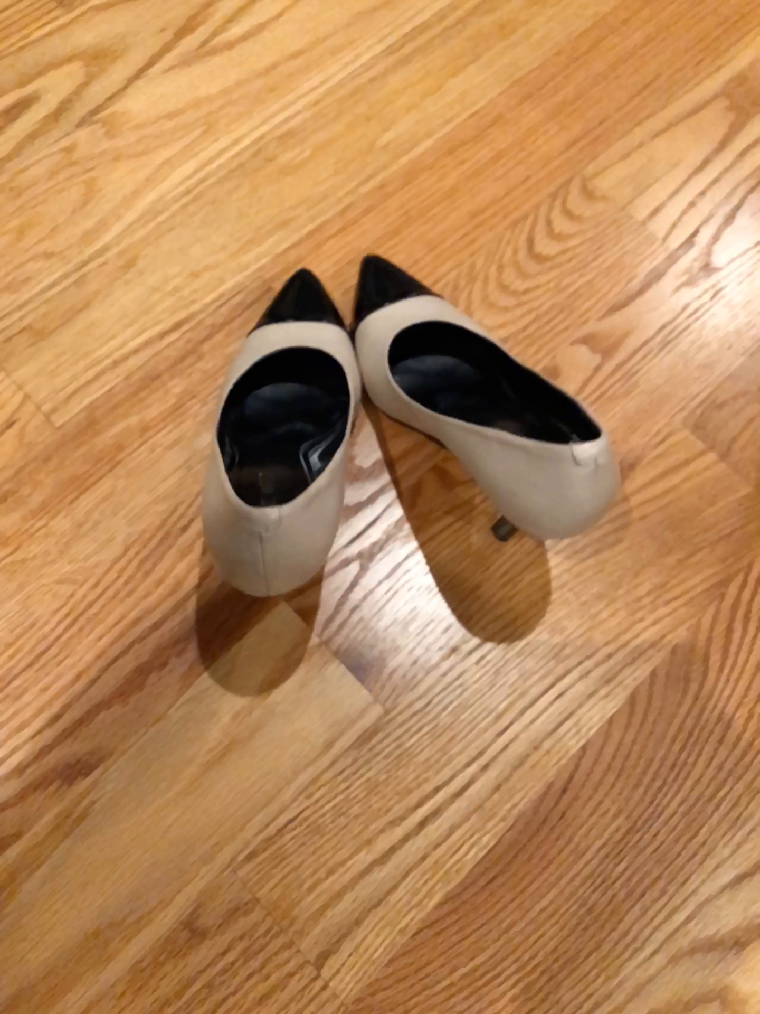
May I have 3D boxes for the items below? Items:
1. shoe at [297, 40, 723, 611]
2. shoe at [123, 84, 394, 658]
[{"bbox_3d":[0.046,-0.085,0.431,0.085,0.139,0.236,-23,73,-11],"label":"shoe"},{"bbox_3d":[-0.048,-0.058,0.416,0.085,0.139,0.236,5,70,-2],"label":"shoe"}]
